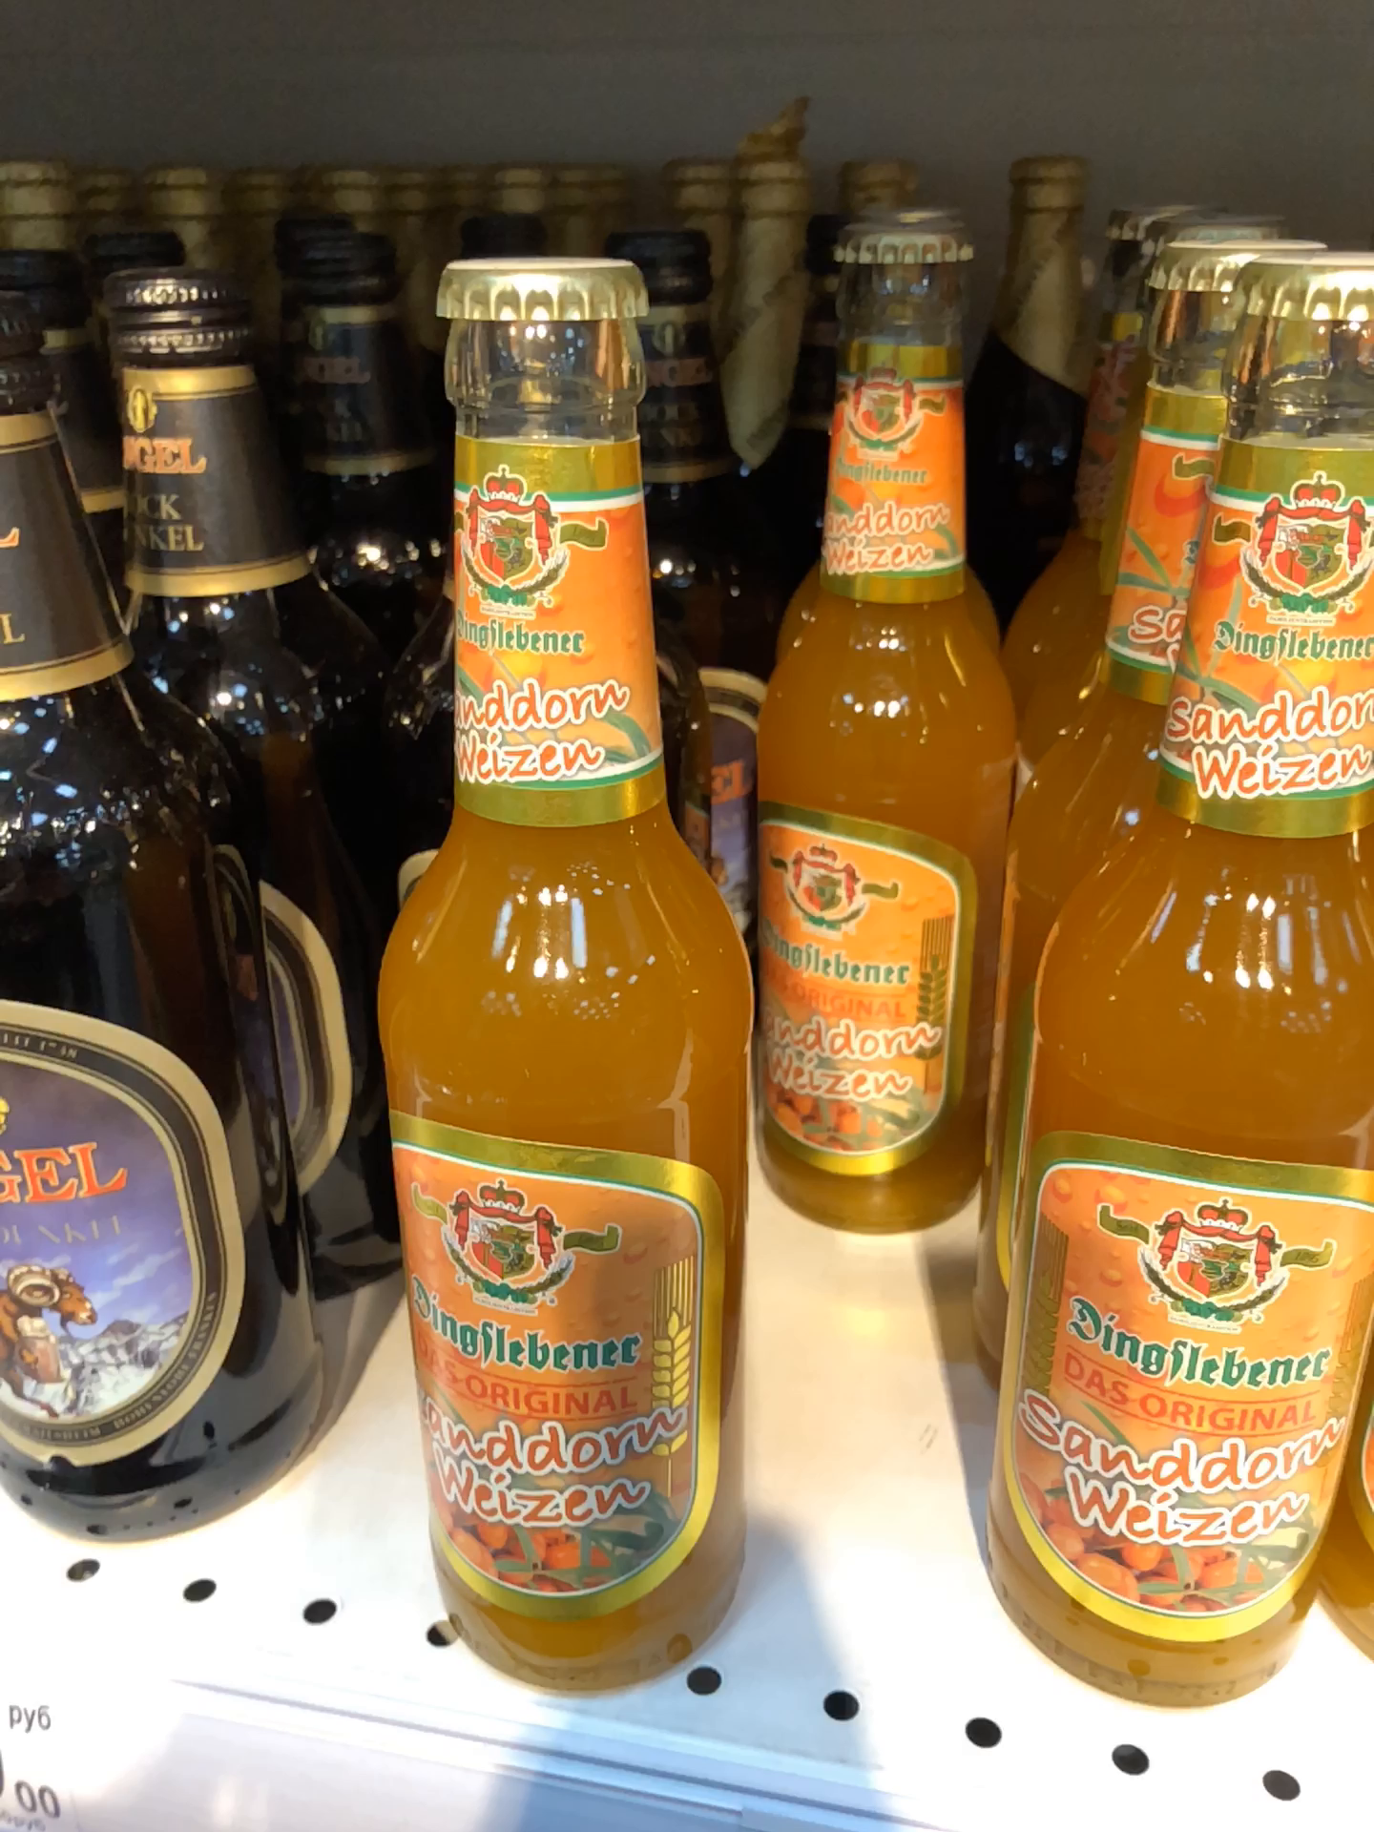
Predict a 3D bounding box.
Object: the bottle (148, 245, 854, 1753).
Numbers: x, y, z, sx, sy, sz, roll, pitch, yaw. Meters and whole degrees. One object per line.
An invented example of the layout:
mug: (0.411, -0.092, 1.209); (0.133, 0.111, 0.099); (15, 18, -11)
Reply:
bottle: (-0.018, 0.019, 0.240); (0.070, 0.225, 0.060); (7, 26, 16)
